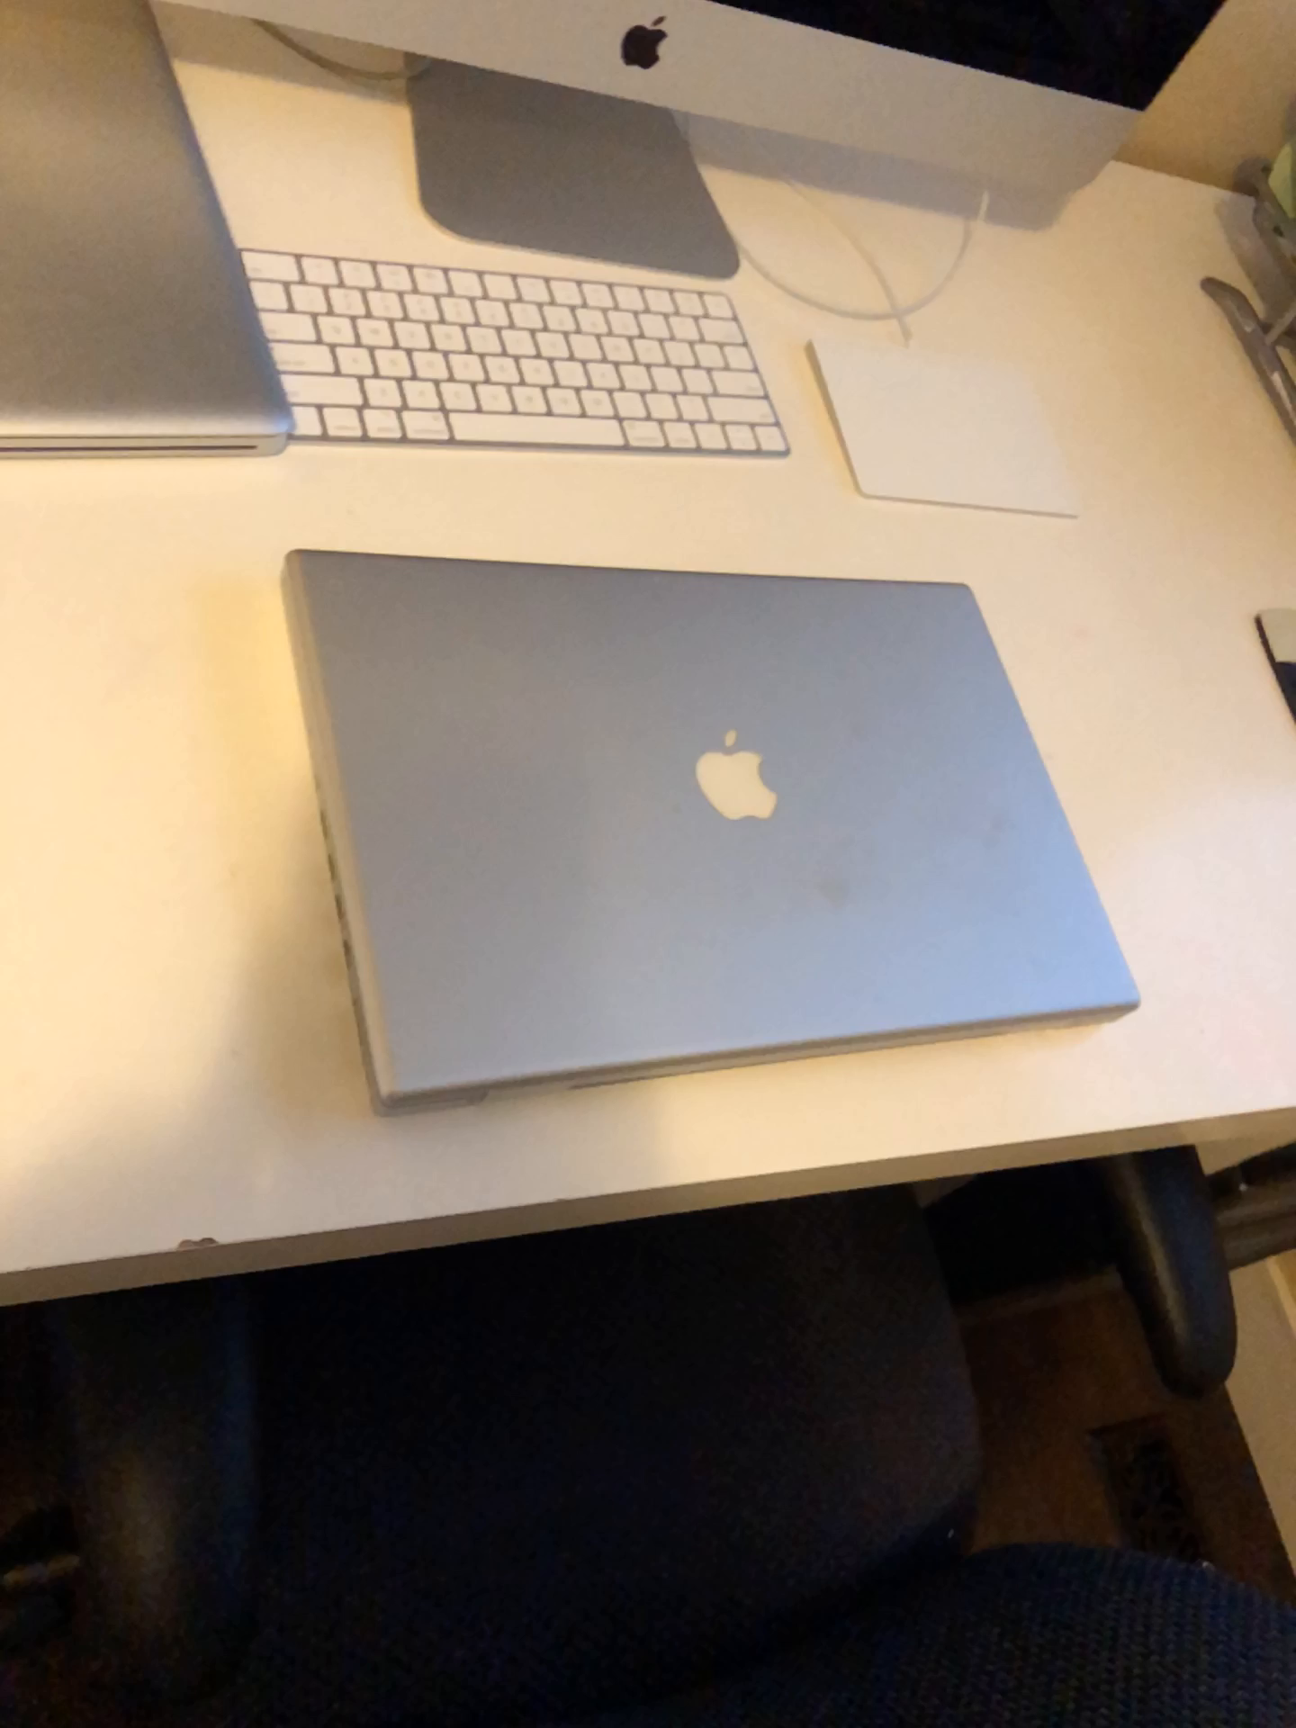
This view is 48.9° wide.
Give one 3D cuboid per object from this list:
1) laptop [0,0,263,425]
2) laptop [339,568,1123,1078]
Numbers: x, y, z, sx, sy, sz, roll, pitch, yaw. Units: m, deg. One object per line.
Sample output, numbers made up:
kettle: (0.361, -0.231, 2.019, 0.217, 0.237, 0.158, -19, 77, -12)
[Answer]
laptop: (-0.288, -0.305, 0.610, 0.201, 0.009, 0.278, -8, 68, -32)
laptop: (0.045, -0.033, 0.616, 0.333, 0.005, 0.214, -3, 66, -27)
